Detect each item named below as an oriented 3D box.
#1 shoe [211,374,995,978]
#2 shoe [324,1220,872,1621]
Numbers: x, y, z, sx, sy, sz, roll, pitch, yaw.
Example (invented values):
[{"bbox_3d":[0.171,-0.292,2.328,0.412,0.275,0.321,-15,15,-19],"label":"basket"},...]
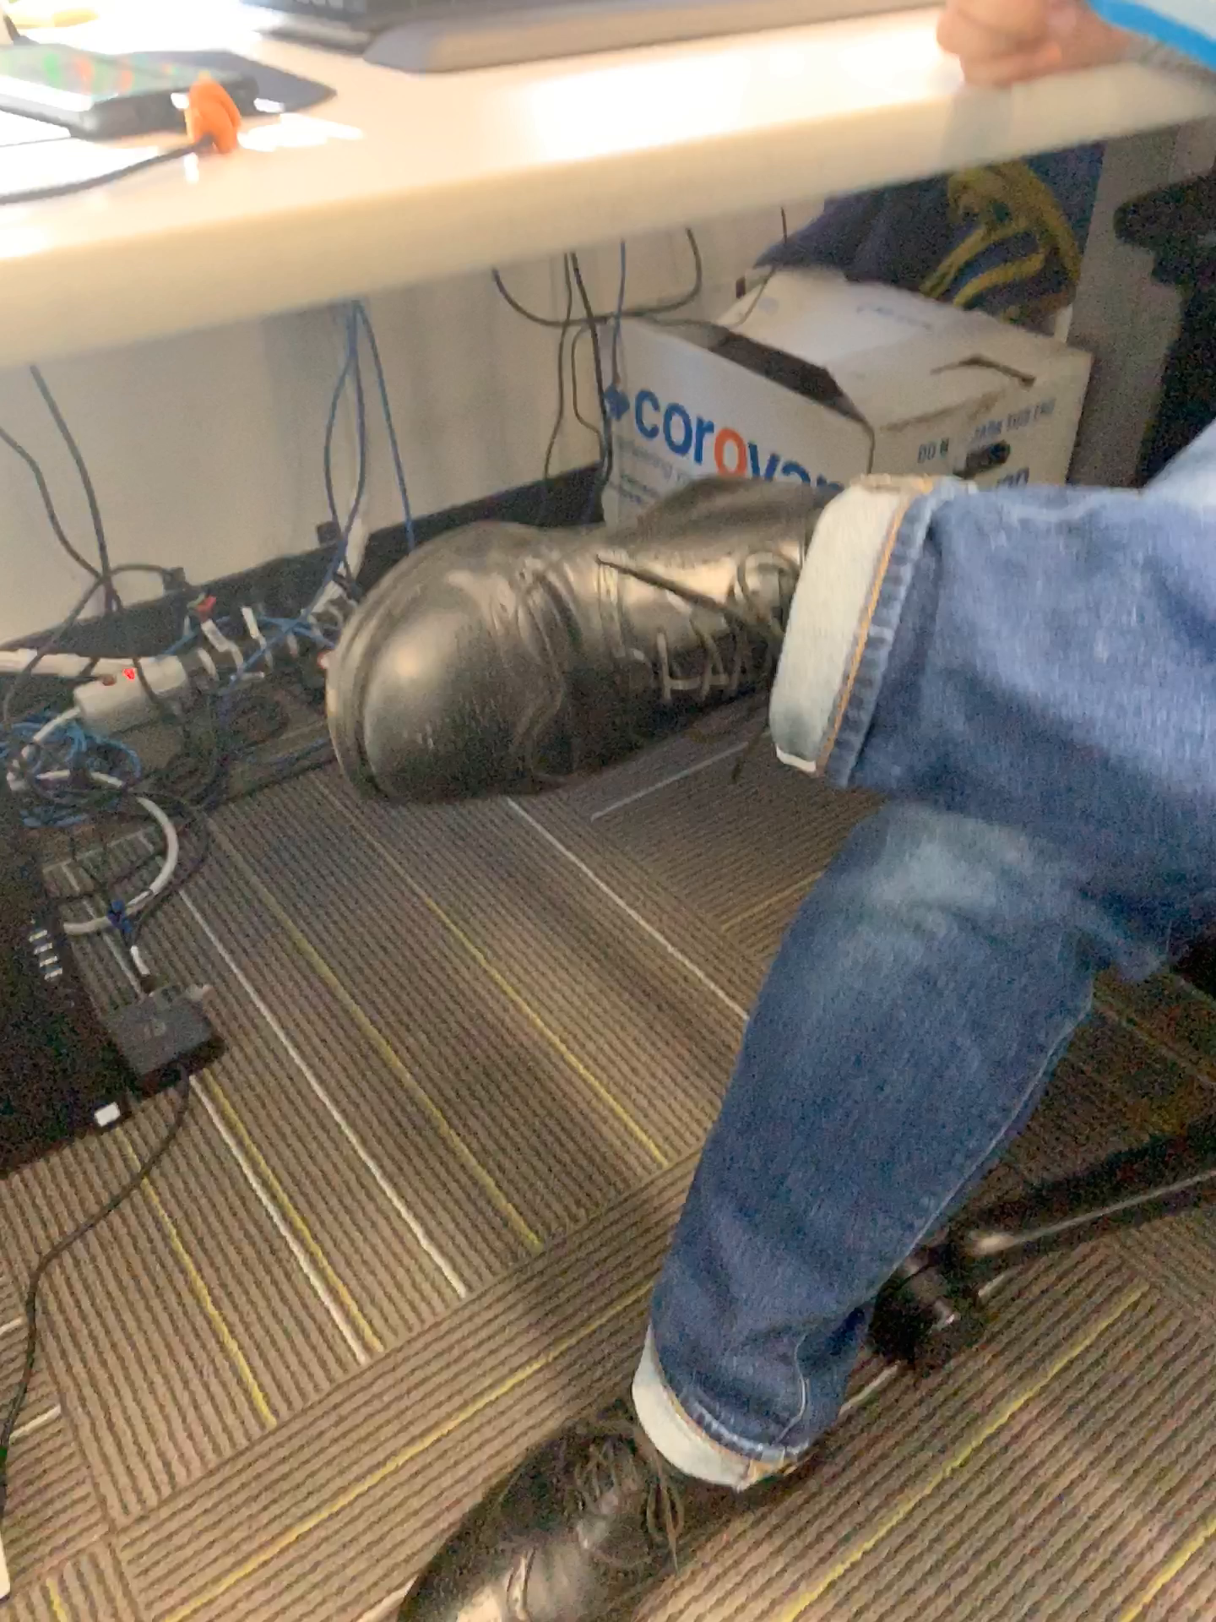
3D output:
[{"bbox_3d":[0.012,-0.065,0.466,0.274,0.111,0.092,-27,42,-28],"label":"shoe"},{"bbox_3d":[0.002,0.367,0.682,0.274,0.104,0.112,-27,45,-28],"label":"shoe"}]
